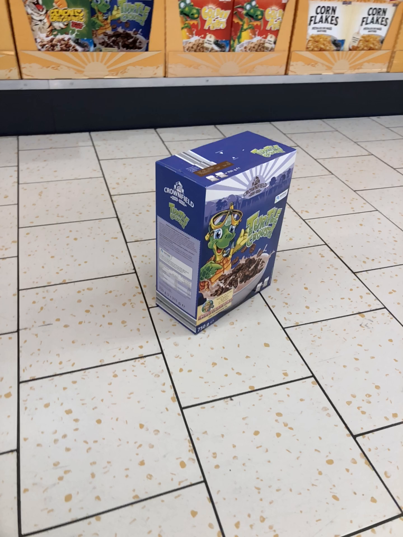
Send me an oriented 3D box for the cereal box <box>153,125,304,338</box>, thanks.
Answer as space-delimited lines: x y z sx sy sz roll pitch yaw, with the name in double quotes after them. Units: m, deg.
0.034 -0.060 0.684 0.100 0.258 0.201 33 45 33 "cereal box"
